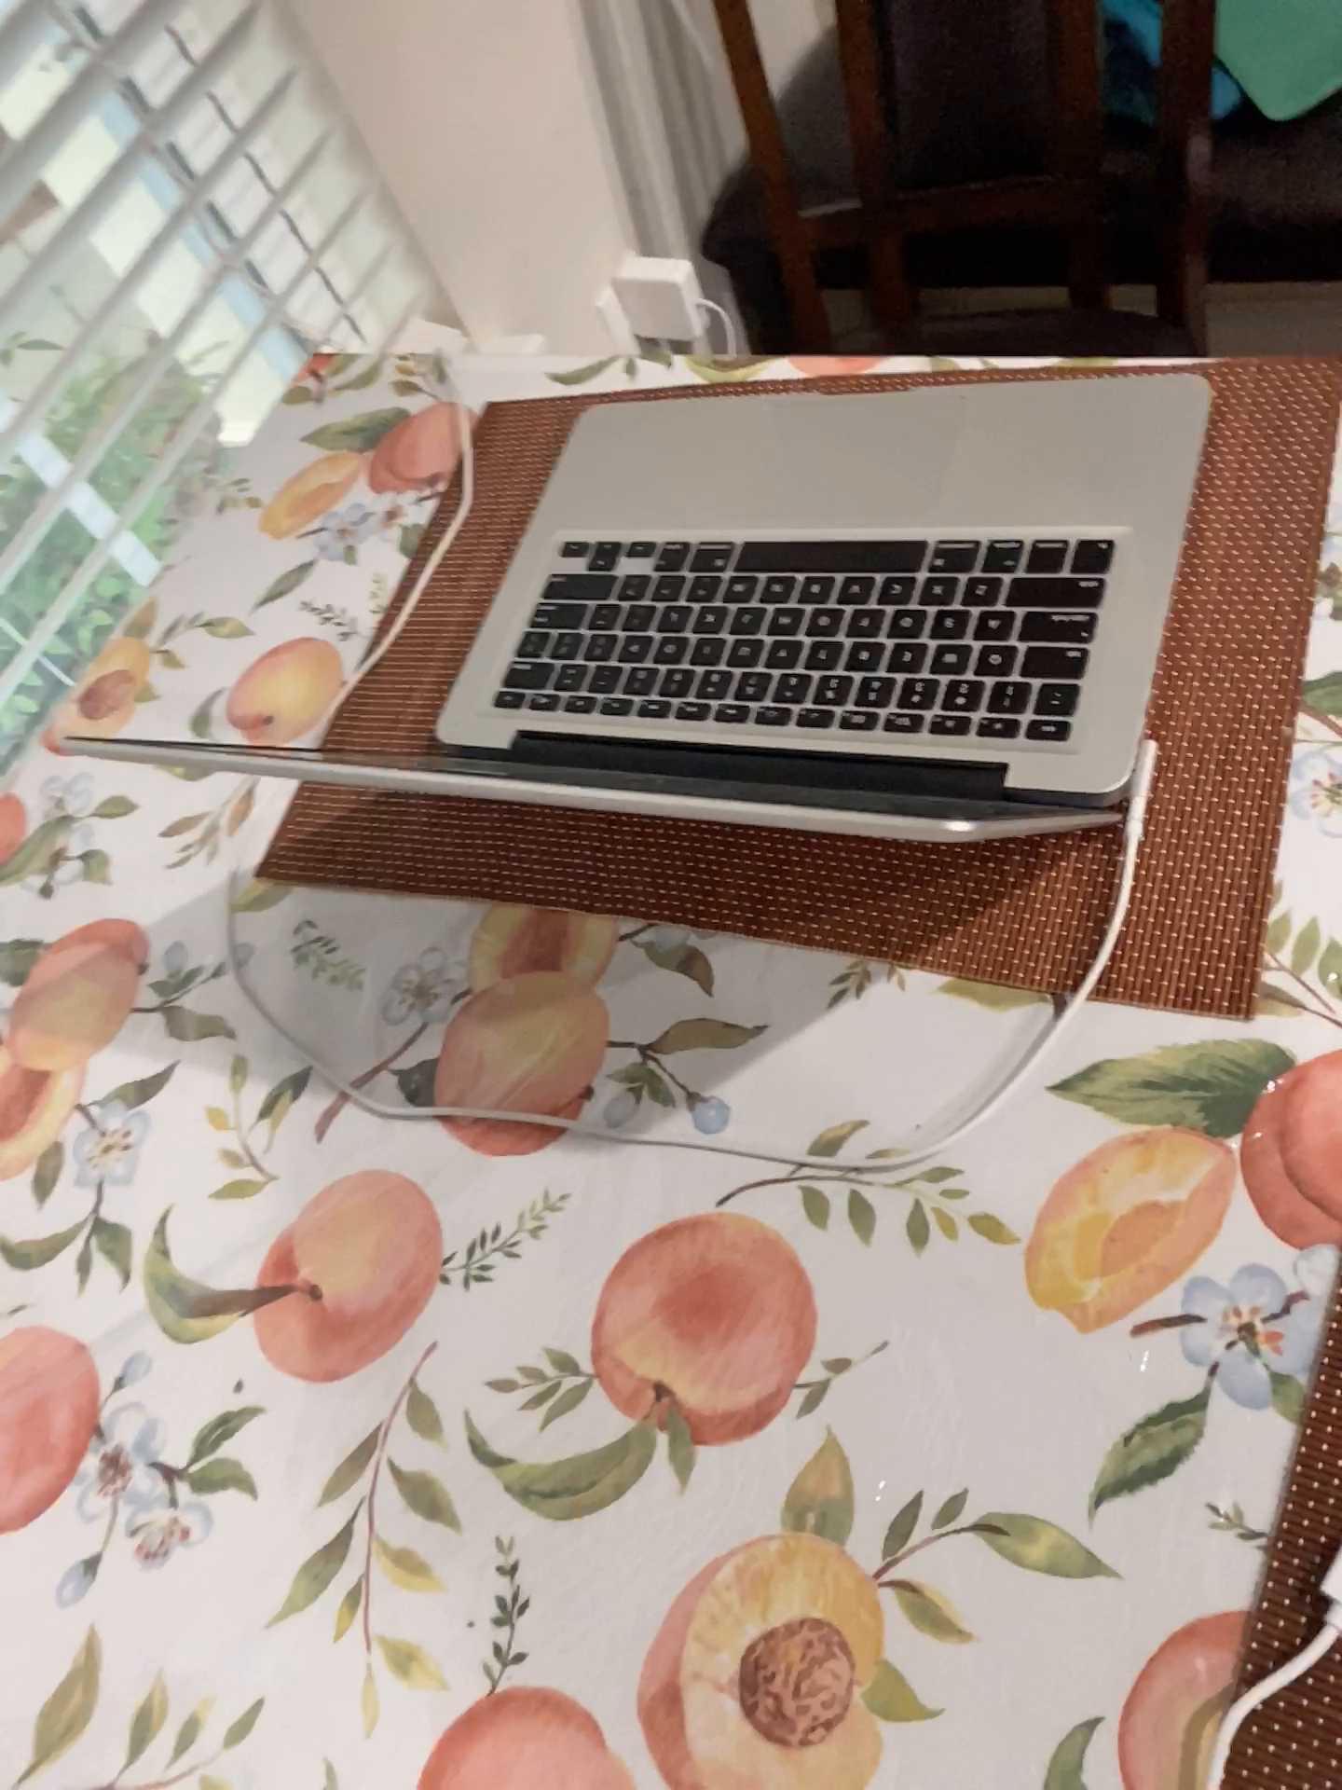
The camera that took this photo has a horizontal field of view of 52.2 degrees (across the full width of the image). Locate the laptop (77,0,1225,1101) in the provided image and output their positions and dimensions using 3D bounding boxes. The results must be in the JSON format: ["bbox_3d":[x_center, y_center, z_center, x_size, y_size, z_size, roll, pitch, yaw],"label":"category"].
[{"bbox_3d":[0.020,-0.139,0.537,0.317,0.163,0.349,7,63,26],"label":"laptop"}]
